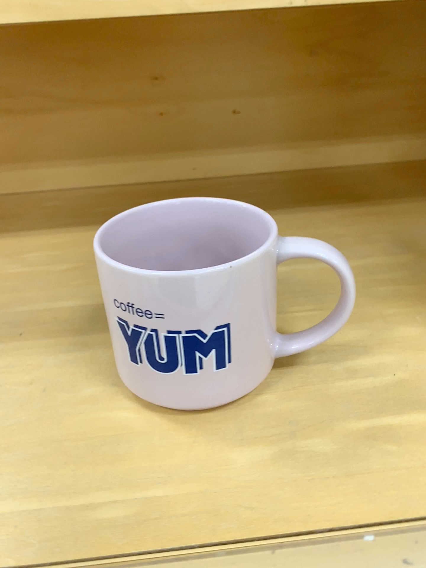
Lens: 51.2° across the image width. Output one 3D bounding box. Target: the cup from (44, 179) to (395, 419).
[{"bbox_3d":[0.003,0.003,0.241,0.141,0.082,0.097,-4,31,0],"label":"cup"}]
